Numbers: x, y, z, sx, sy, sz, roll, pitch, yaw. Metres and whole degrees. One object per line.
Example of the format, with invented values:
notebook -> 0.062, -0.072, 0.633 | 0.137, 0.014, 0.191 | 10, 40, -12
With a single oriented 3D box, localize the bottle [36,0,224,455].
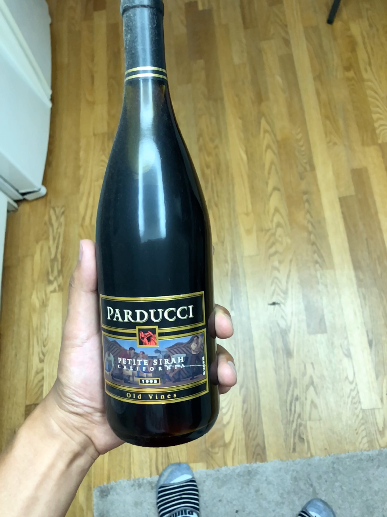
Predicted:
bottle -> -0.032, -0.021, 0.285 | 0.090, 0.070, 0.280 | -2, 98, 6
